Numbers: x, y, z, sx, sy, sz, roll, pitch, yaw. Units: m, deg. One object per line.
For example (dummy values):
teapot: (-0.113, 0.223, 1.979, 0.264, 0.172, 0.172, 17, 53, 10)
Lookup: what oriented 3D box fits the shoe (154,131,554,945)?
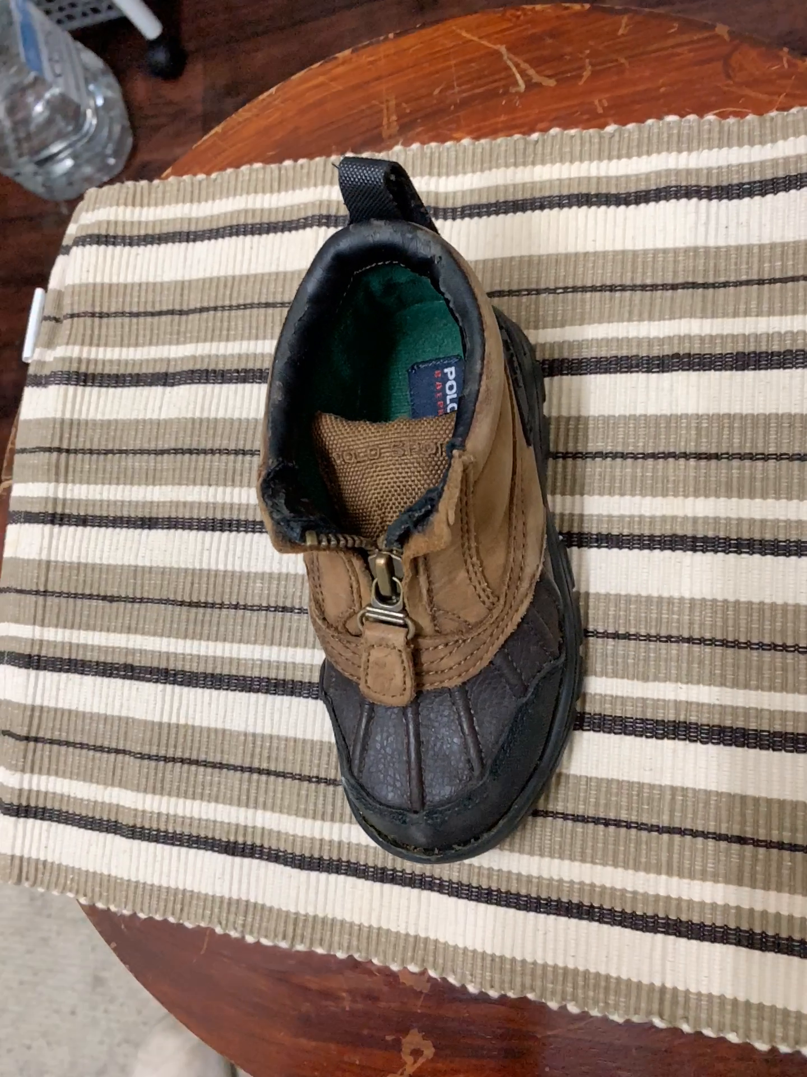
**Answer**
shoe: (-0.005, 0.000, 0.239, 0.080, 0.090, 0.180, -1, 83, 19)
